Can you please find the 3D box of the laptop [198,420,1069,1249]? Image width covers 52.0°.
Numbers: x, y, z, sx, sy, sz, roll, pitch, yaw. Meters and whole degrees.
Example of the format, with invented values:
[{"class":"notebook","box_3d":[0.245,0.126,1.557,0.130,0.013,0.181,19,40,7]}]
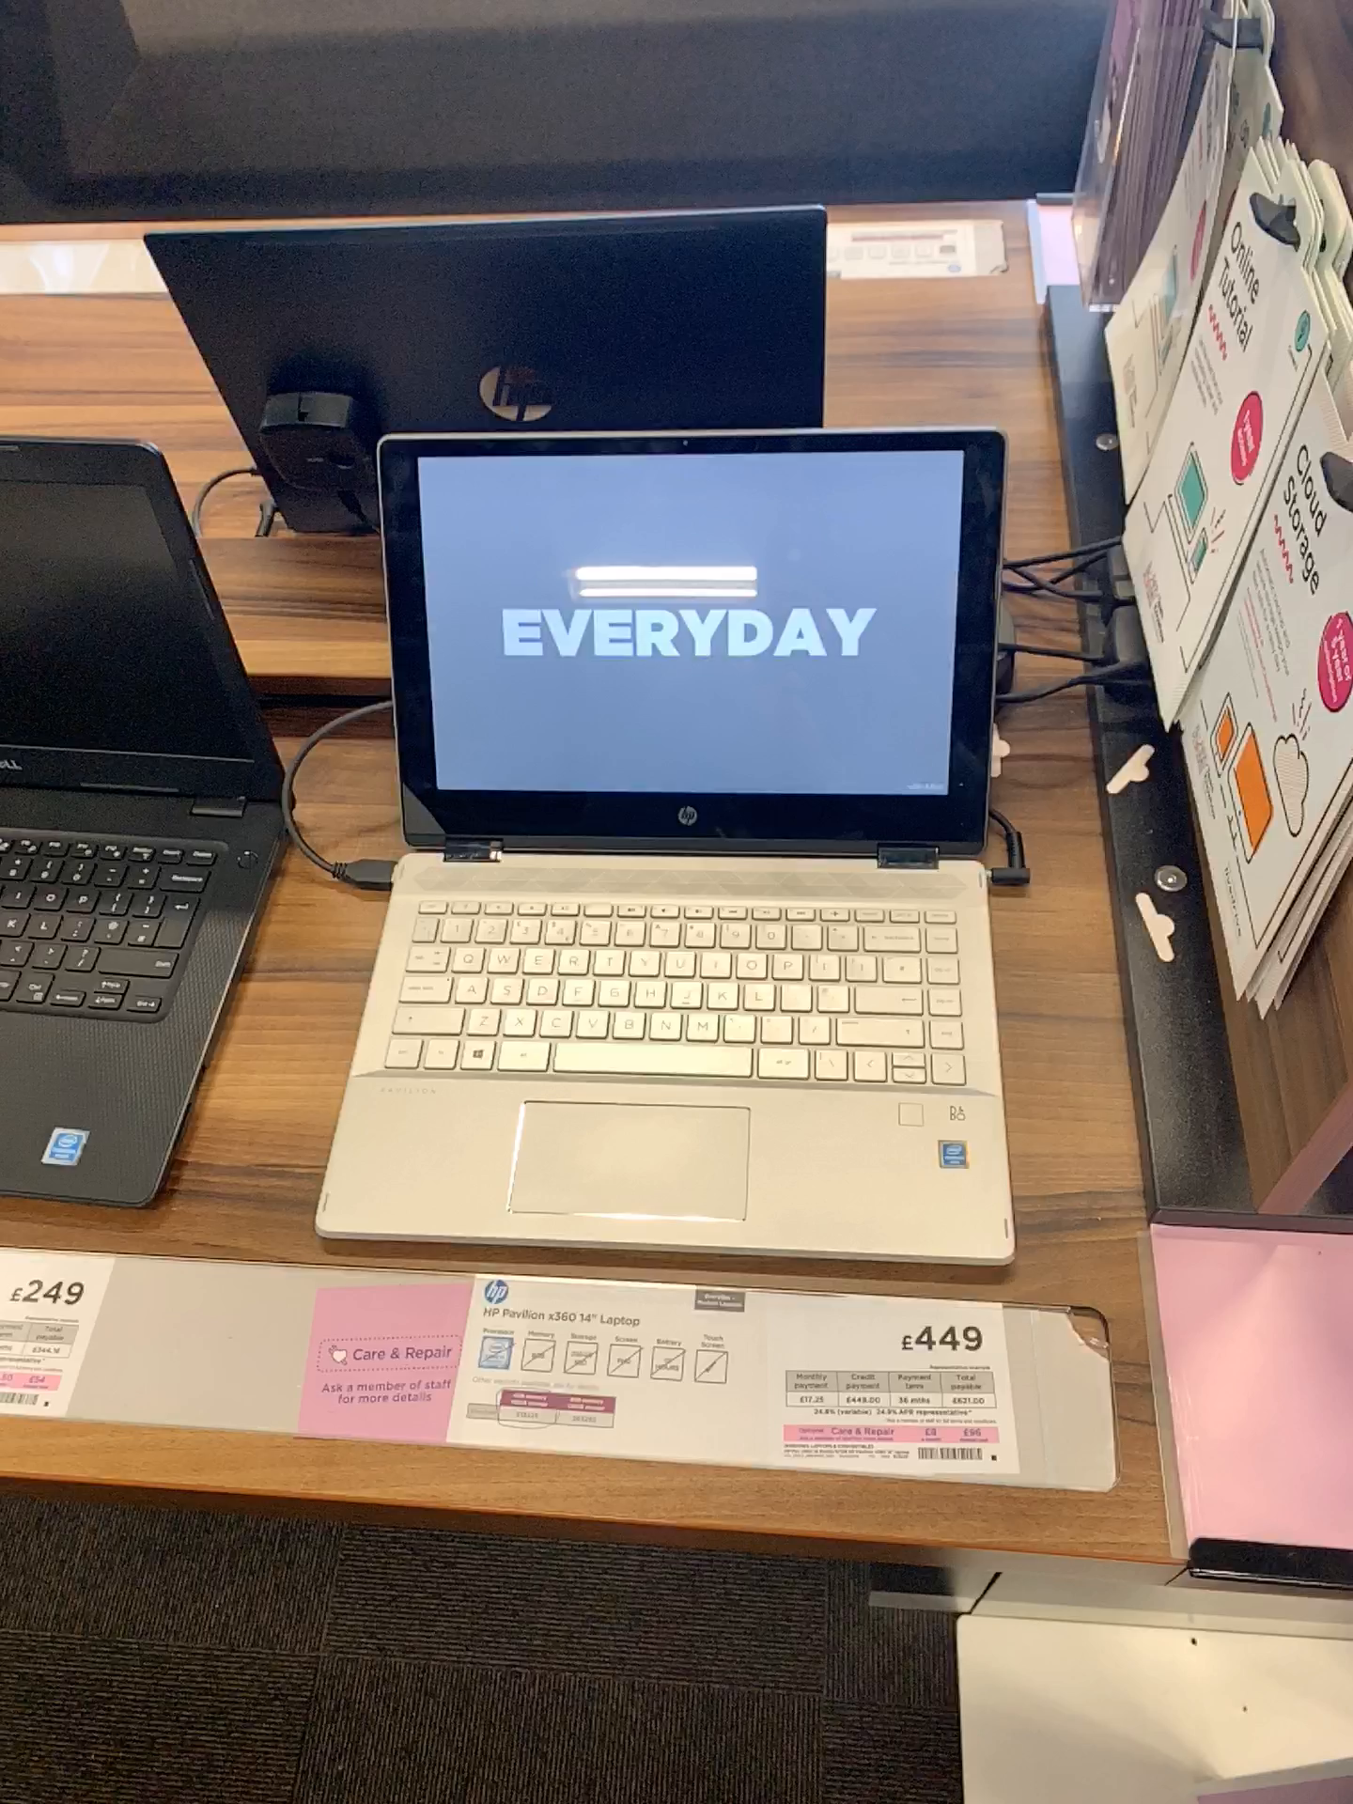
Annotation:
[{"class":"laptop","box_3d":[-0.003,-0.046,0.658,0.313,0.154,0.363,1,56,6]}]
